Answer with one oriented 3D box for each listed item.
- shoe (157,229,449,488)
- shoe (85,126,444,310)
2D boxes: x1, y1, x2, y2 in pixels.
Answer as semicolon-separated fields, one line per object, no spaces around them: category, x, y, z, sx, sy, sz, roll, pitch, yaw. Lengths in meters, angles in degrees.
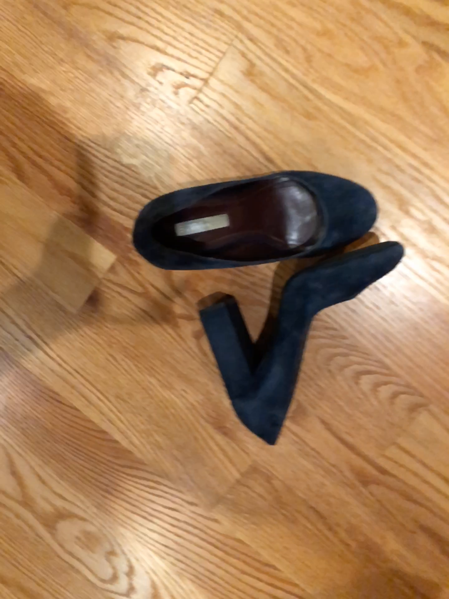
shoe;0.072;0.049;0.438;0.204;0.080;0.152;-22;95;11
shoe;0.032;-0.061;0.396;0.226;0.147;0.080;-9;98;10
